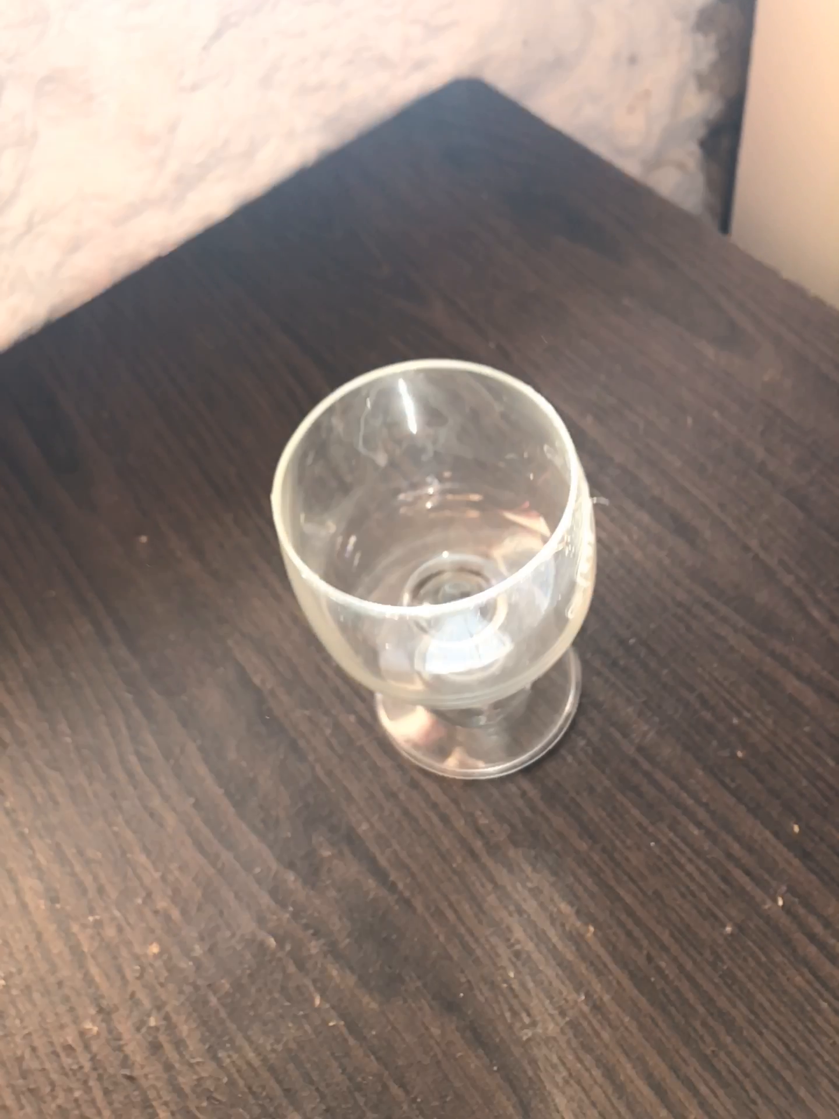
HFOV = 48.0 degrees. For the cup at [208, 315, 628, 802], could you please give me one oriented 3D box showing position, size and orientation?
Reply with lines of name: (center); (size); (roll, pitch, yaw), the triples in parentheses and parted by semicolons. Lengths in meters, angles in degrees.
cup: (0.007, 0.008, 0.254); (0.085, 0.107, 0.077); (-7, 58, 8)
